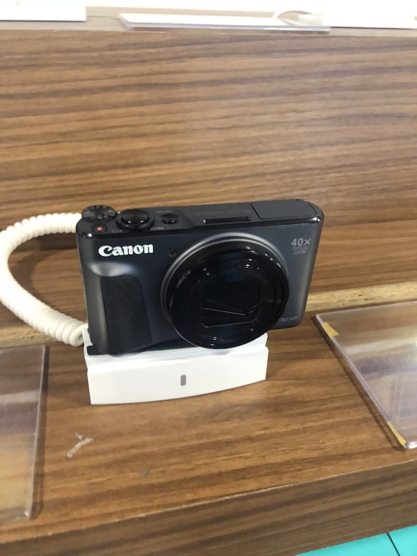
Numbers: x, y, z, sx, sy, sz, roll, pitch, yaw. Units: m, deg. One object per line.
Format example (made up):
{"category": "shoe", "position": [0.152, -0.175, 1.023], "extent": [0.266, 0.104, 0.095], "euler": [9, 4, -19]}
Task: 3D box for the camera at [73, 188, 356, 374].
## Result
{"category": "camera", "position": [0.000, 0.000, 0.206], "extent": [0.109, 0.063, 0.037], "euler": [-6, 36, -12]}
